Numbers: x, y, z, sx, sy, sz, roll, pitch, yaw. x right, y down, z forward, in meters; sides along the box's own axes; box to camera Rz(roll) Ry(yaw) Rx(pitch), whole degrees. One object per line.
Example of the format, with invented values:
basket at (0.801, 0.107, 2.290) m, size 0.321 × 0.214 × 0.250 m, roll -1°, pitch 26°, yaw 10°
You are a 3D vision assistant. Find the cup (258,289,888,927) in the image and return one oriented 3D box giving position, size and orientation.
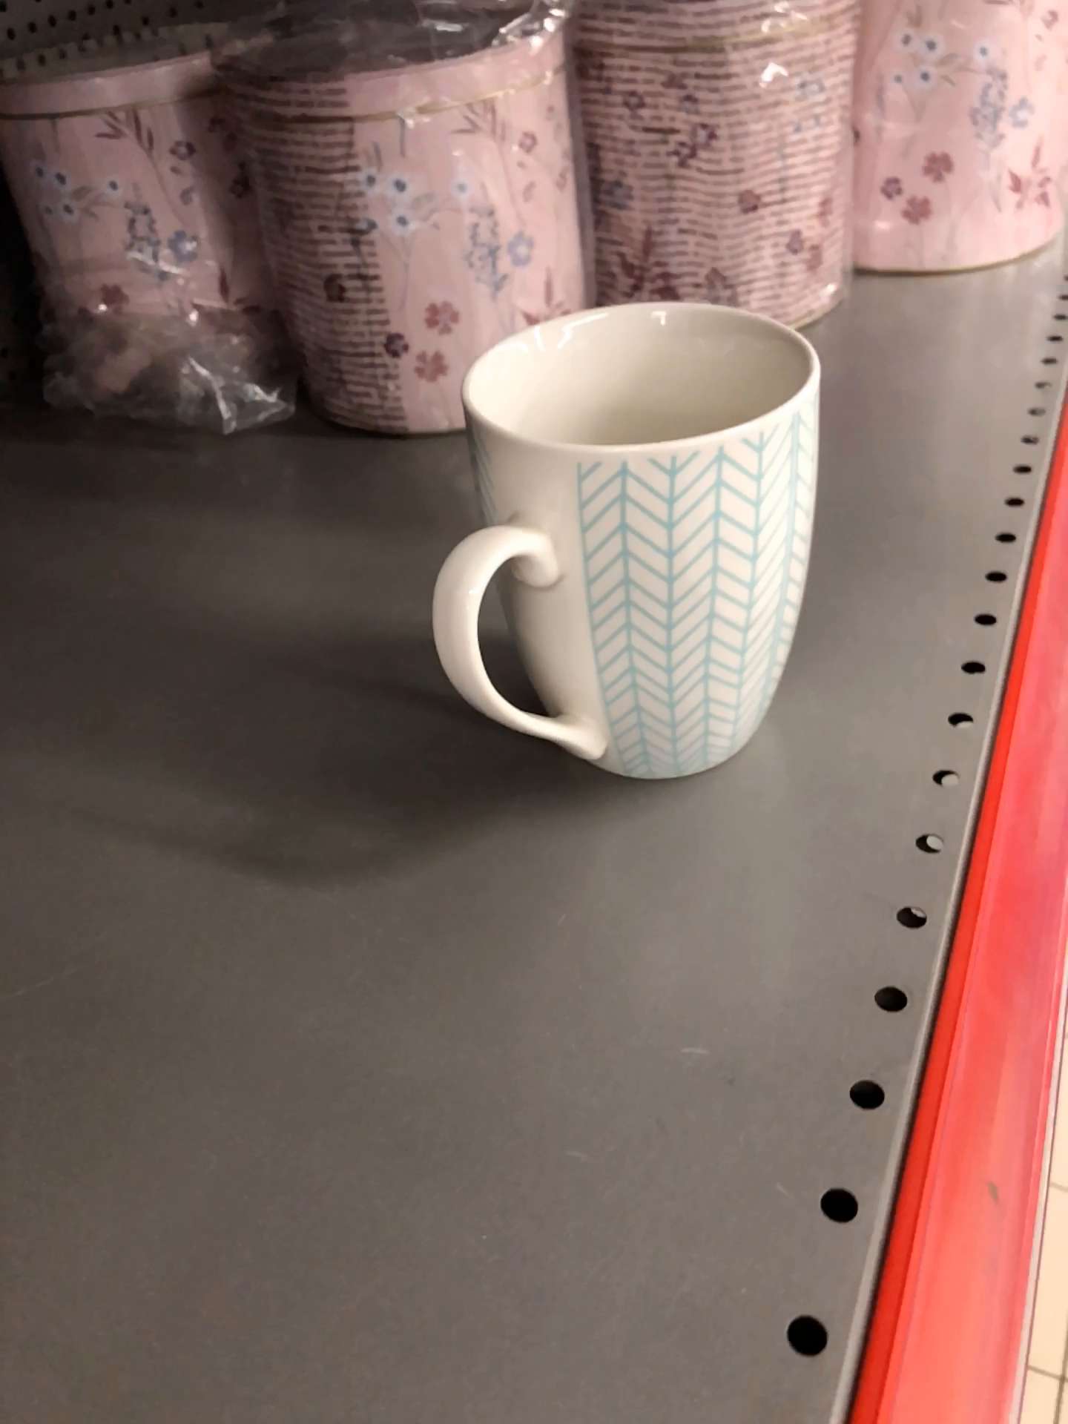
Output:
cup at (0.015, -0.035, 0.307) m, size 0.093 × 0.096 × 0.120 m, roll 27°, pitch 49°, yaw 34°
